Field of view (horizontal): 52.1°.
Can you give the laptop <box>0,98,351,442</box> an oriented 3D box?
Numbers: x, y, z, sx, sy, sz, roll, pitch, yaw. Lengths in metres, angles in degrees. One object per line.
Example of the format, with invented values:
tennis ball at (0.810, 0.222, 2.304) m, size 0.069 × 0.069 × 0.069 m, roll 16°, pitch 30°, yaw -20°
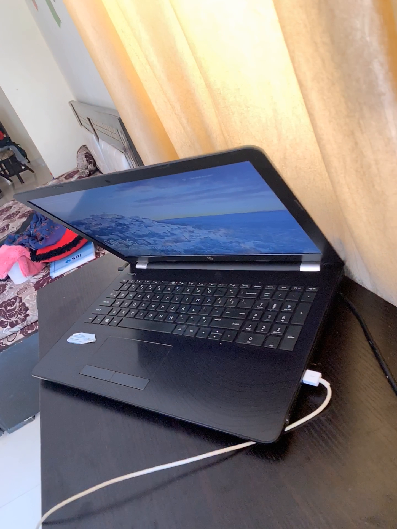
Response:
laptop at (-0.048, -0.006, 0.485) m, size 0.363 × 0.201 × 0.239 m, roll 0°, pitch 38°, yaw 39°
